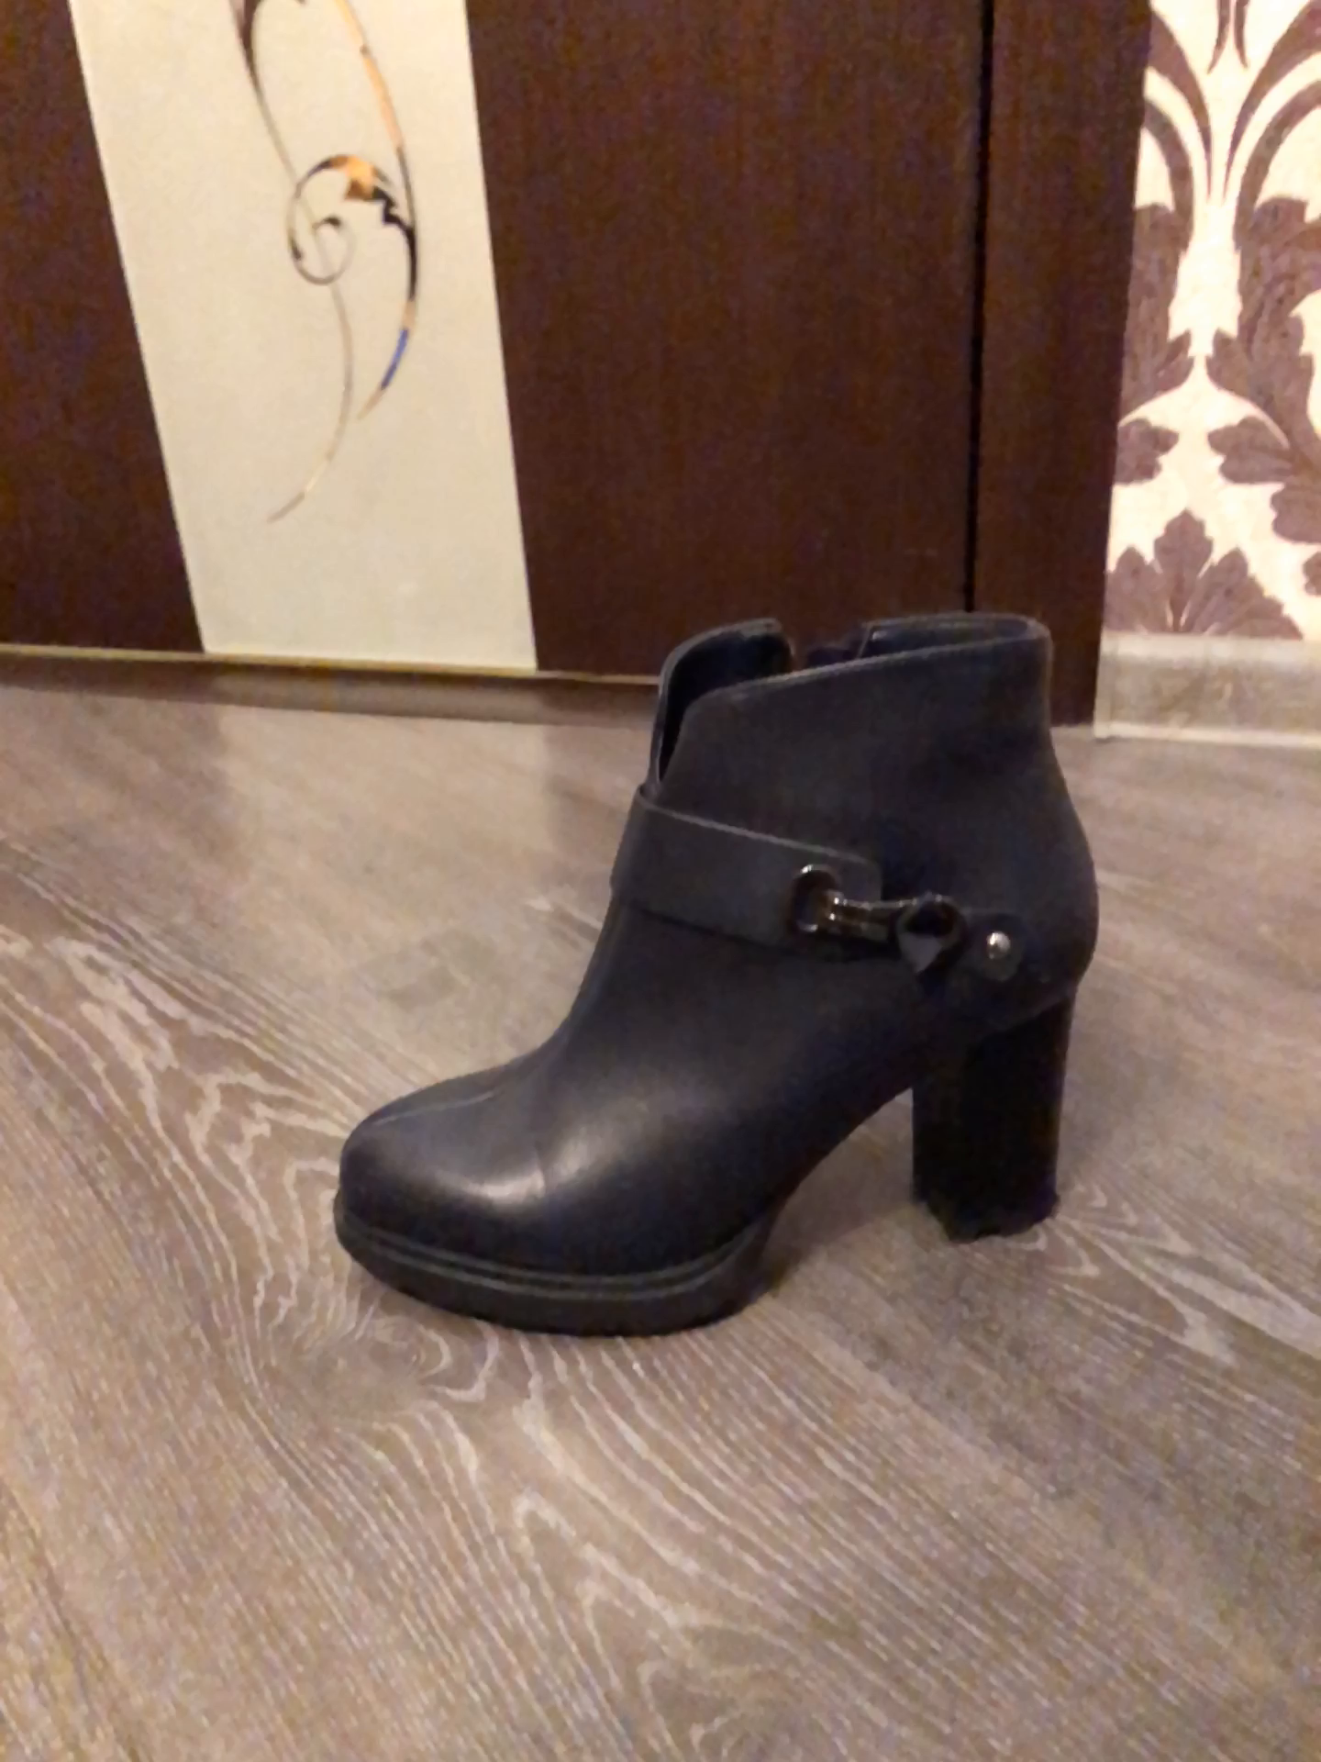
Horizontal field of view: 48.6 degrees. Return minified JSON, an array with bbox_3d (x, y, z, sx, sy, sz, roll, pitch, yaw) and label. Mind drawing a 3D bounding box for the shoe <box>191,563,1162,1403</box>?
[{"bbox_3d":[0.006,0.024,0.432,0.230,0.189,0.111,-7,26,-6],"label":"shoe"}]
